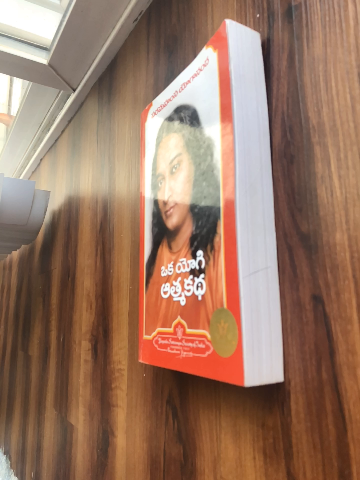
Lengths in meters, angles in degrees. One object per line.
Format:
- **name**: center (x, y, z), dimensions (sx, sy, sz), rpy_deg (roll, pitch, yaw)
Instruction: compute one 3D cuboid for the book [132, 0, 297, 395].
- **book**: center (0.010, -0.019, 0.278), dimensions (0.148, 0.030, 0.214), rpy_deg (-17, 71, 59)
